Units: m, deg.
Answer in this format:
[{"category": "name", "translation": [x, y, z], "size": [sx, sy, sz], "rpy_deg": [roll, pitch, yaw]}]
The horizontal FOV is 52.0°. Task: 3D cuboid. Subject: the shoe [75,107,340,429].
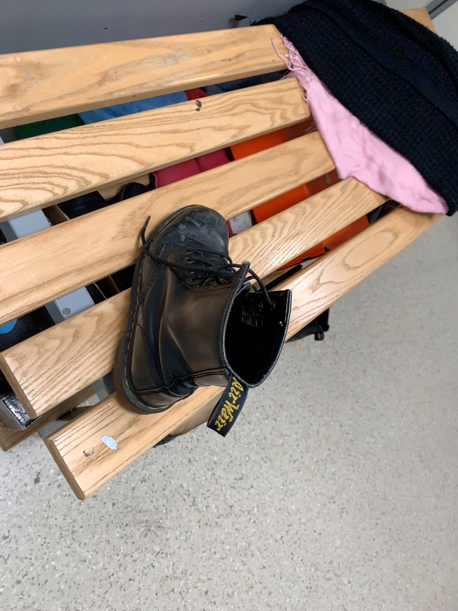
[{"category": "shoe", "translation": [-0.021, -0.022, 0.472], "size": [0.107, 0.199, 0.262], "rpy_deg": [31, 61, -25]}]
